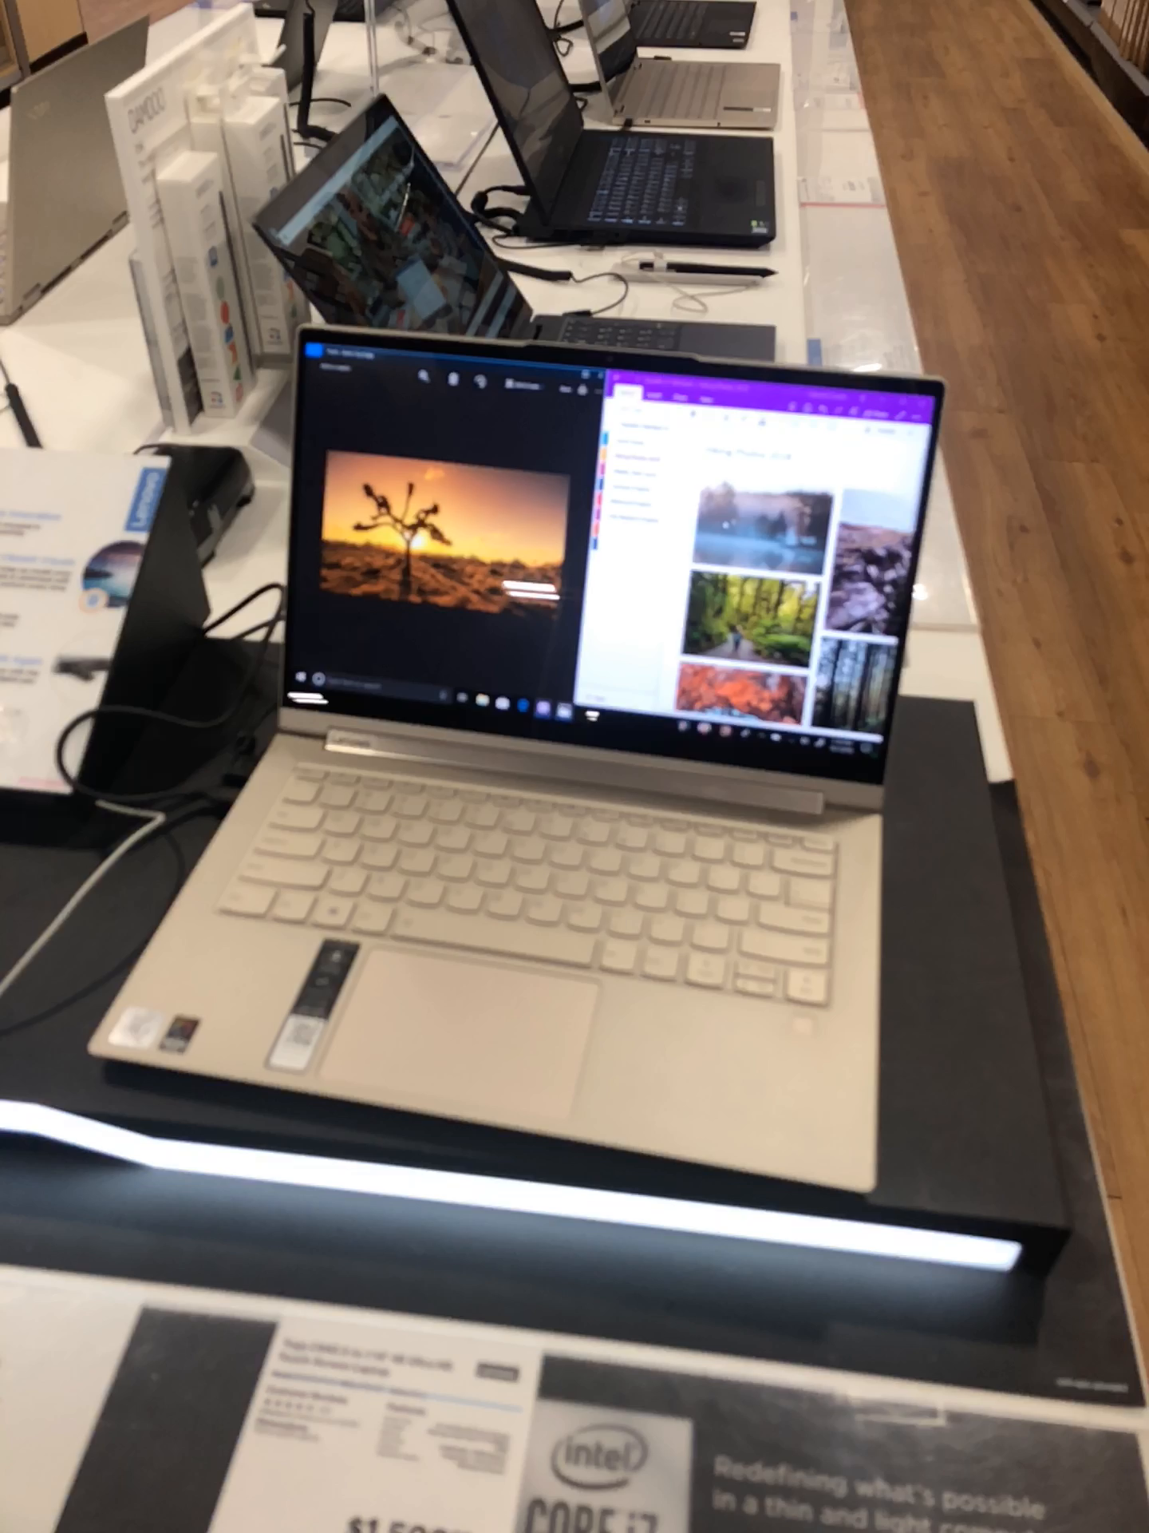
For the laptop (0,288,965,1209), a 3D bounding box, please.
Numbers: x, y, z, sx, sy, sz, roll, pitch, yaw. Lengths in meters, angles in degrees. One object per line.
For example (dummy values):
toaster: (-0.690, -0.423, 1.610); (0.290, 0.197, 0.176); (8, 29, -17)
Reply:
laptop: (-0.016, -0.040, 0.547); (0.320, 0.170, 0.327); (8, 45, 10)
